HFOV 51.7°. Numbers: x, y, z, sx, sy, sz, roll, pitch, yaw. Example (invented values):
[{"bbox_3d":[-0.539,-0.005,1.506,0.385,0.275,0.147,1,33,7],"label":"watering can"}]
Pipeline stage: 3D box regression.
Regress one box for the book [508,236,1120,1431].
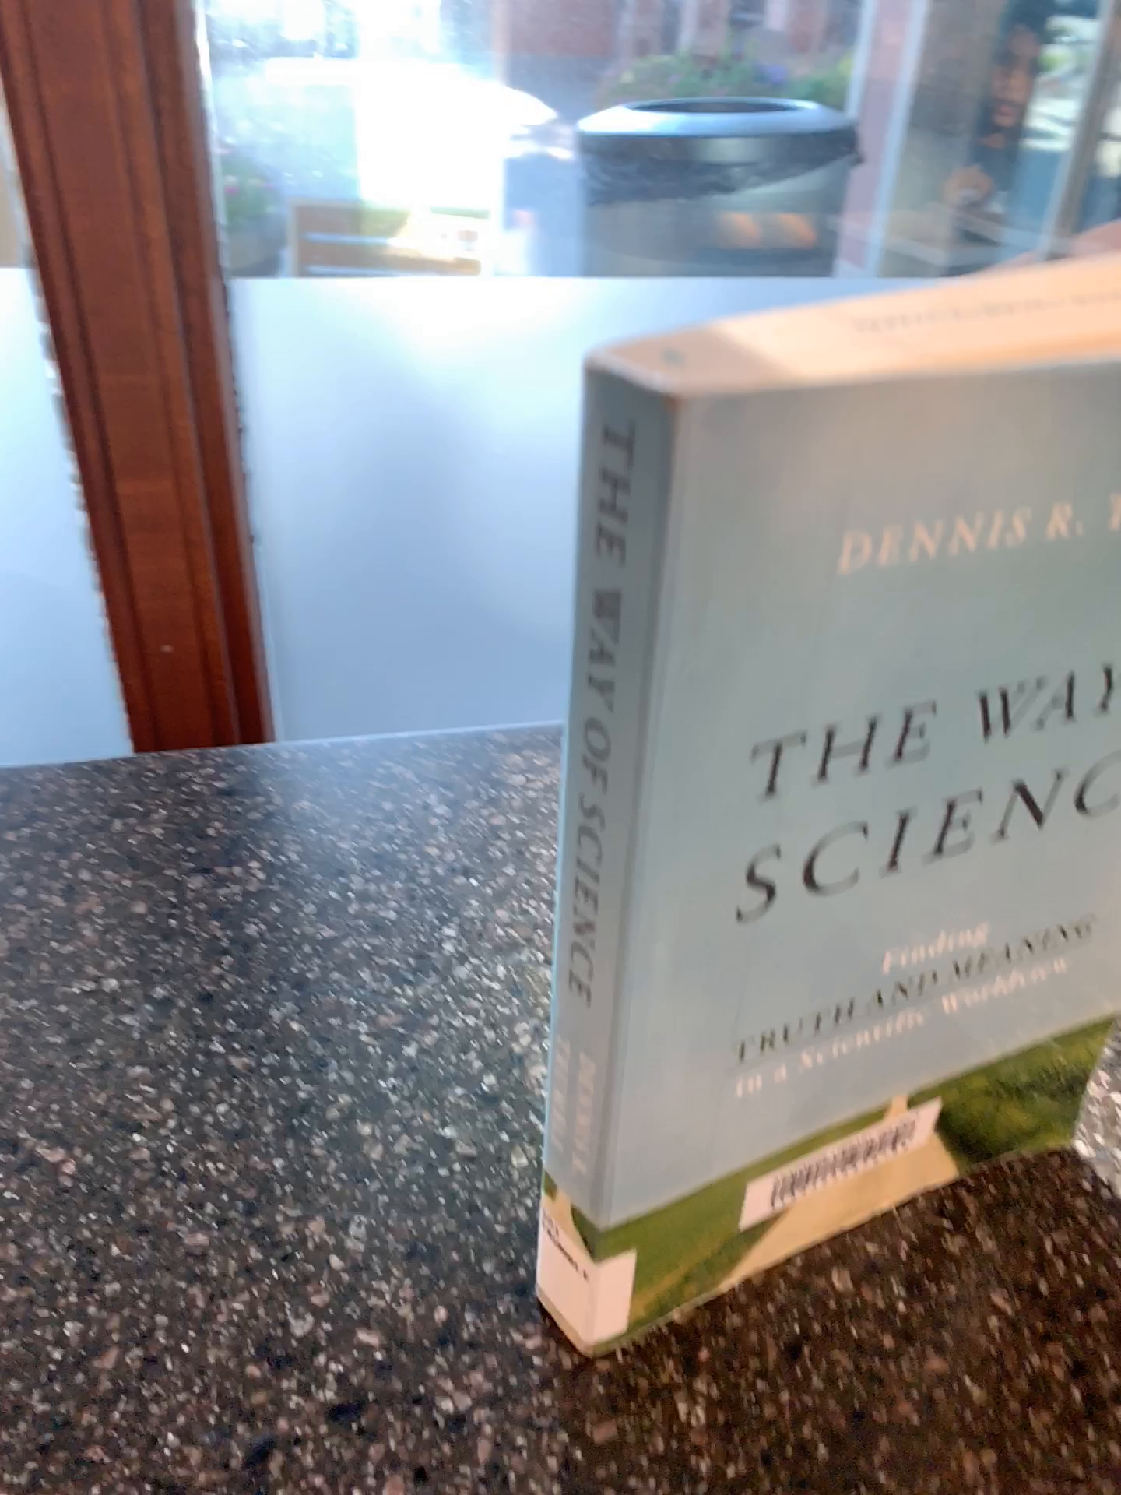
[{"bbox_3d":[0.076,0.024,0.229,0.167,0.219,0.040,-14,37,-23],"label":"book"}]
